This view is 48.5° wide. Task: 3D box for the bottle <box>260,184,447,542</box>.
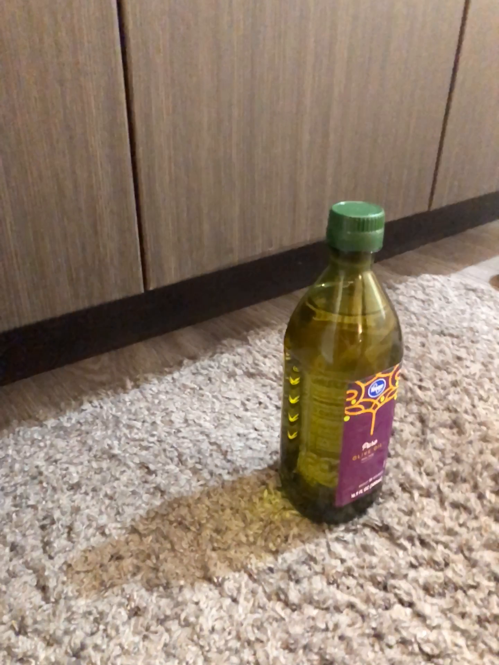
[{"bbox_3d":[0.054,0.024,0.343,0.070,0.209,0.060,-14,34,-24],"label":"bottle"}]
